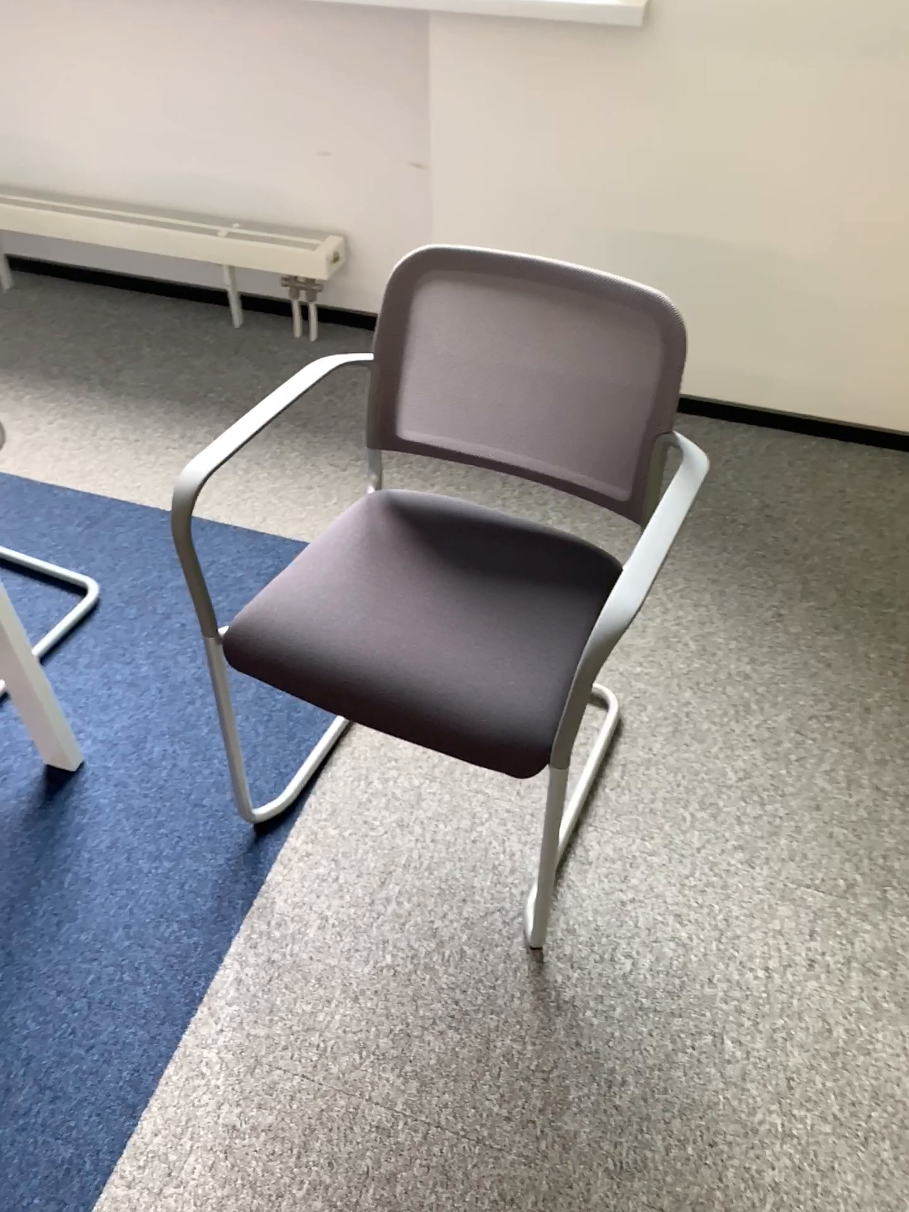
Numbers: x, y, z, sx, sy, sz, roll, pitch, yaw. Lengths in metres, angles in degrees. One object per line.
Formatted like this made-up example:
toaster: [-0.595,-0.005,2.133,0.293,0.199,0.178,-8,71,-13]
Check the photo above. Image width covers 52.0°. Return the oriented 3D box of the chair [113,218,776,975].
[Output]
chair: [0.016,-0.012,1.249,0.530,0.726,0.522,20,47,18]
